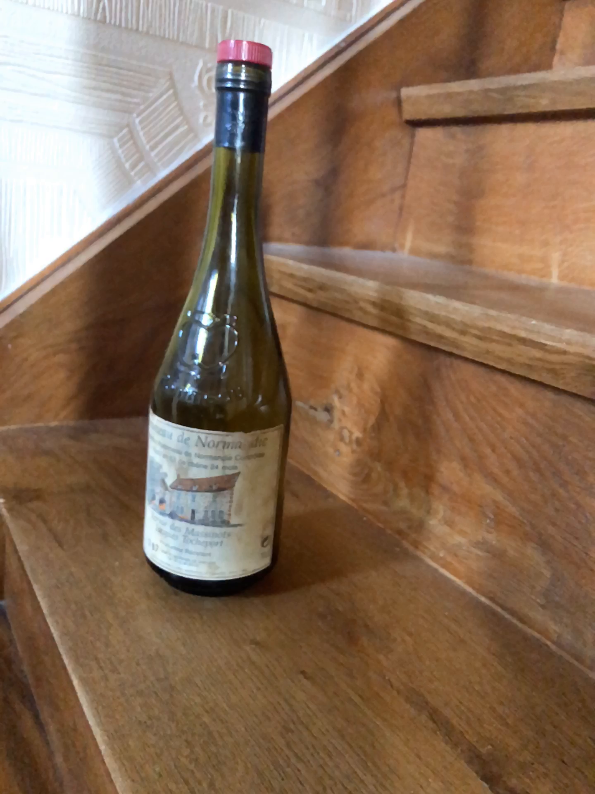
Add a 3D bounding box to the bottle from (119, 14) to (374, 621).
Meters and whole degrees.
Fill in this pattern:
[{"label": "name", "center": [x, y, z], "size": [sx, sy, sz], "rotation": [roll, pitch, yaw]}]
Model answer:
[{"label": "bottle", "center": [-0.034, -0.040, 0.392], "size": [0.090, 0.309, 0.090], "rotation": [6, 15, -2]}]
